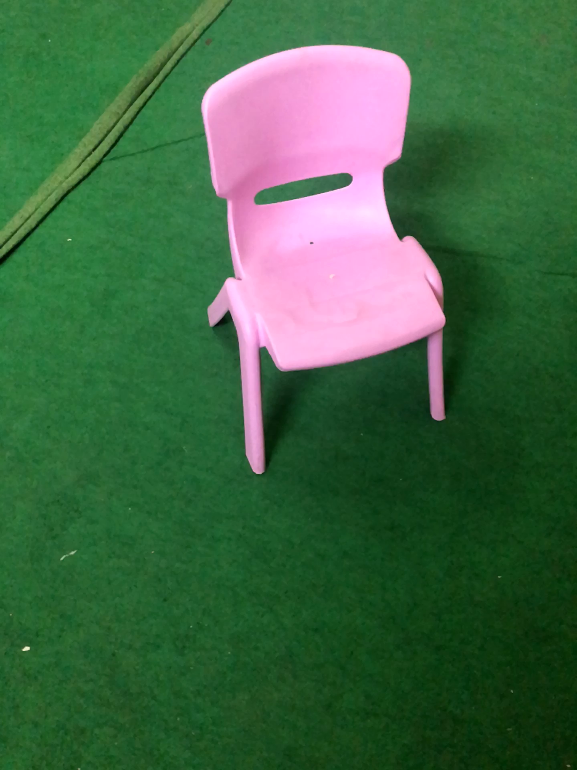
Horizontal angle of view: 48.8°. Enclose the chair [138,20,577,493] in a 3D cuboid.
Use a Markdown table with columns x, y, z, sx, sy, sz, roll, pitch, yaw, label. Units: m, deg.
| x | y | z | sx | sy | sz | roll | pitch | yaw | label |
| --- | --- | --- | --- | --- | --- | --- | --- | --- | --- |
| 0.052 | -0.173 | 0.935 | 0.380 | 0.449 | 0.411 | -17 | 59 | -13 | chair |
